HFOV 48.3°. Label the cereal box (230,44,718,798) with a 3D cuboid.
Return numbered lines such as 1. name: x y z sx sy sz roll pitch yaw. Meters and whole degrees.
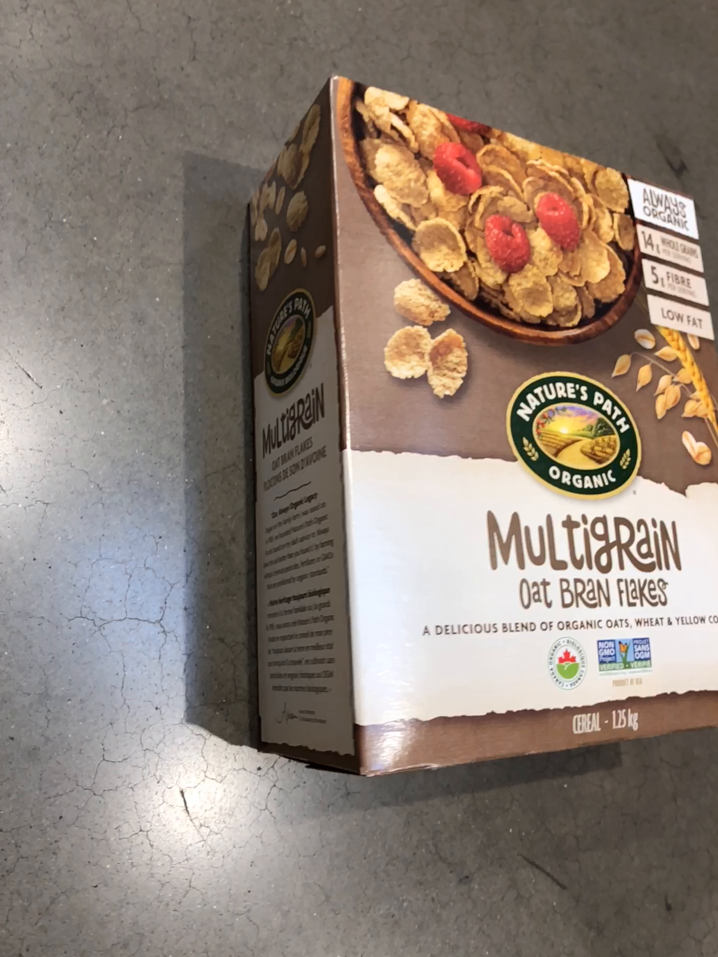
1. cereal box: 0.067 -0.017 0.415 0.241 0.110 0.310 6 73 -29
